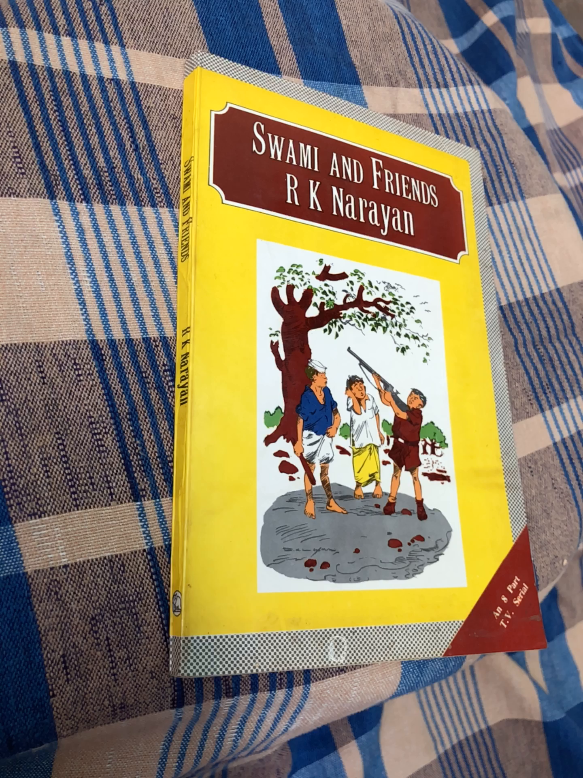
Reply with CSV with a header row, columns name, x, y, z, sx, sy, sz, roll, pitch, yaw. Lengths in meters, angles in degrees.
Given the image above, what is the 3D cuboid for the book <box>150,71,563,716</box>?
name,x,y,z,sx,sy,sz,roll,pitch,yaw
book,0.024,-0.002,0.221,0.130,0.020,0.190,8,71,-26
